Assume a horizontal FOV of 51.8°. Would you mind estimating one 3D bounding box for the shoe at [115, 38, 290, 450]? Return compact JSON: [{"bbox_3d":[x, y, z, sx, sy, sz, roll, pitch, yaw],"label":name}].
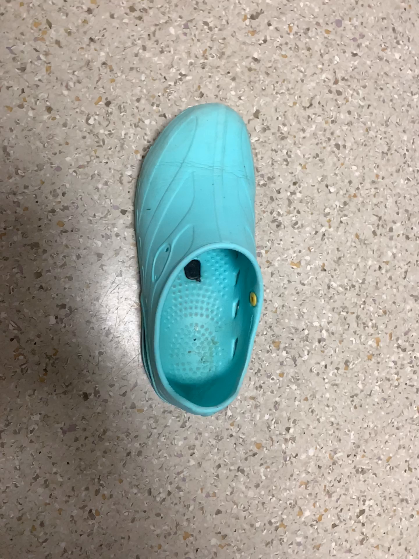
[{"bbox_3d":[-0.014,-0.022,0.352,0.106,0.105,0.275,3,90,-14],"label":"shoe"}]
